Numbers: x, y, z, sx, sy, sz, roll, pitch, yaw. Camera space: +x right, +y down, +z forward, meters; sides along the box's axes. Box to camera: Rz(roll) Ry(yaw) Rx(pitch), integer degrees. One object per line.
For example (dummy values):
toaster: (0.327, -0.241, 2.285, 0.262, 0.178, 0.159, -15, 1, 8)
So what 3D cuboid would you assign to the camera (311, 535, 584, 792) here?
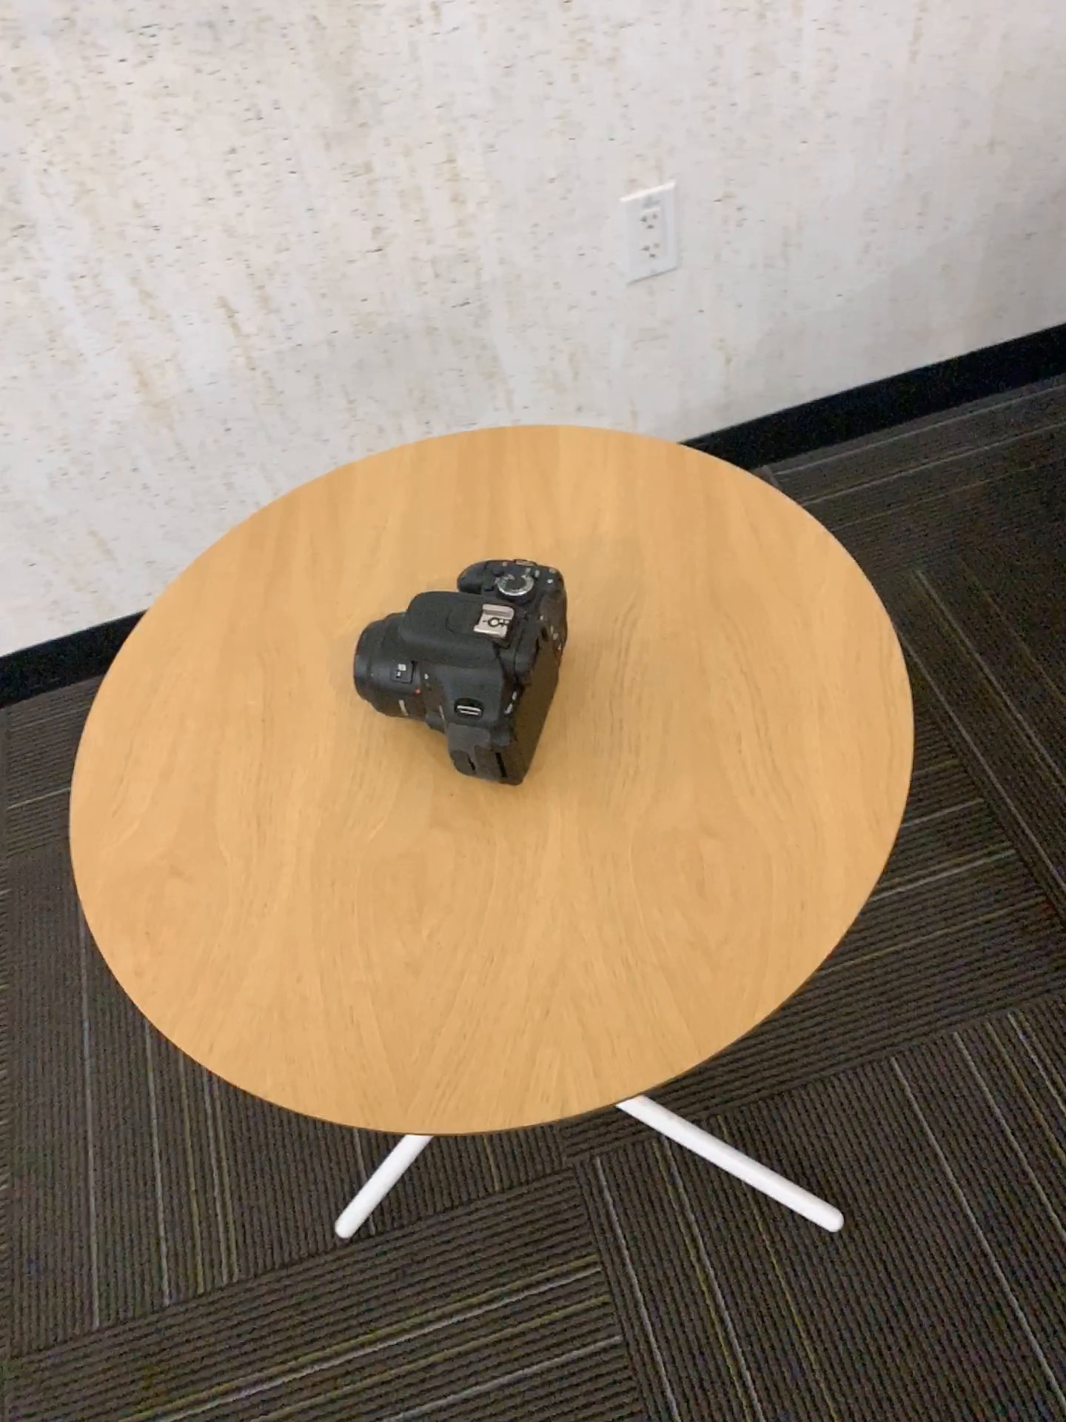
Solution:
camera: (-0.047, -0.031, 0.672, 0.125, 0.080, 0.120, 8, 57, 15)
